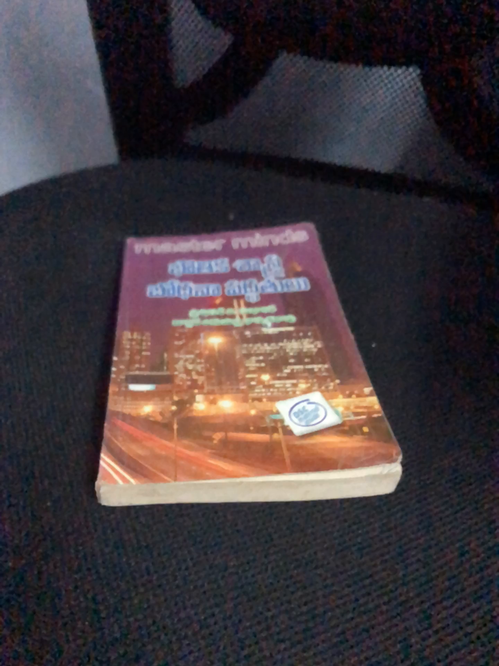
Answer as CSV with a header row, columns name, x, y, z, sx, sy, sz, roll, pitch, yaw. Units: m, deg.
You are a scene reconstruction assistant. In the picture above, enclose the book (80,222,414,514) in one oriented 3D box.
name,x,y,z,sx,sy,sz,roll,pitch,yaw
book,-0.012,0.000,0.333,0.145,0.027,0.219,0,39,-9
